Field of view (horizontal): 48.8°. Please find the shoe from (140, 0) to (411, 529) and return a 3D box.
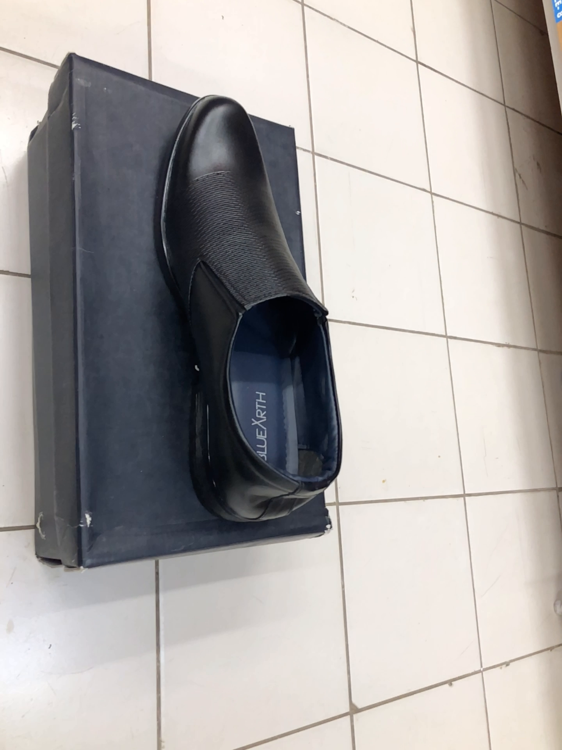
[{"bbox_3d":[-0.015,-0.074,0.432,0.101,0.129,0.340,0,79,-35],"label":"shoe"}]
